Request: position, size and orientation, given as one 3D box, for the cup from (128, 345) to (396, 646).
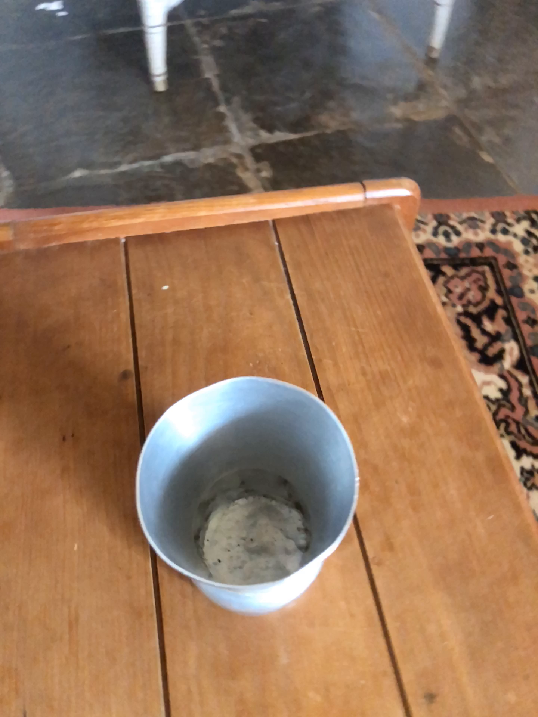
[{"bbox_3d":[-0.007,0.060,0.234,0.070,0.109,0.070,1,58,-1],"label":"cup"}]
